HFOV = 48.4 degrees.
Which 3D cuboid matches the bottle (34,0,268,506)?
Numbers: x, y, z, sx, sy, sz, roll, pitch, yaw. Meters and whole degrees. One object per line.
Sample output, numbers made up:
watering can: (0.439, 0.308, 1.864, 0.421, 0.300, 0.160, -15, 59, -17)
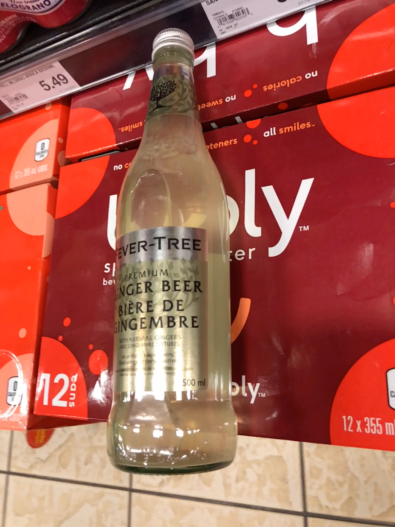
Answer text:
bottle: (-0.024, -0.027, 0.246, 0.080, 0.080, 0.270, -11, 72, 25)
